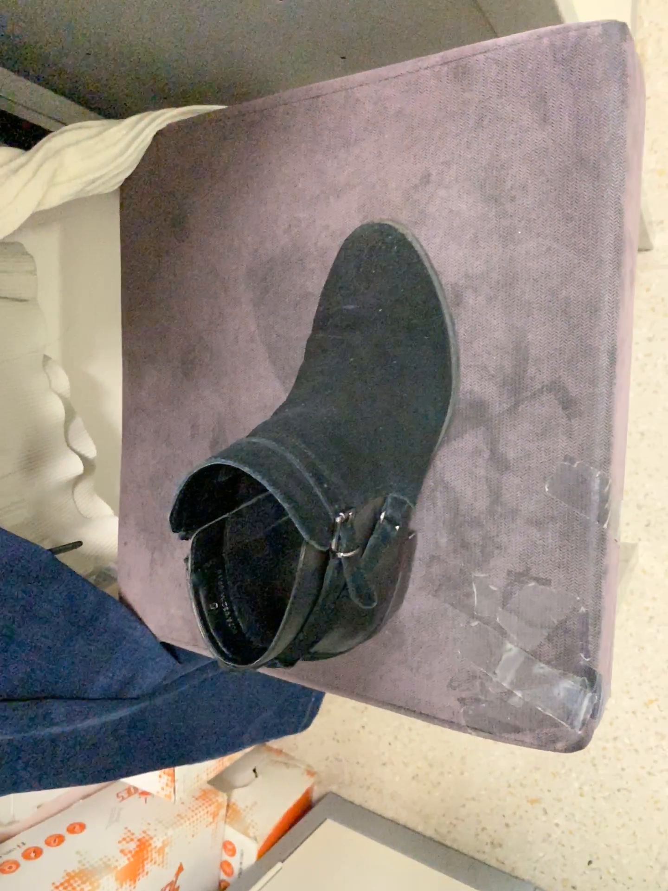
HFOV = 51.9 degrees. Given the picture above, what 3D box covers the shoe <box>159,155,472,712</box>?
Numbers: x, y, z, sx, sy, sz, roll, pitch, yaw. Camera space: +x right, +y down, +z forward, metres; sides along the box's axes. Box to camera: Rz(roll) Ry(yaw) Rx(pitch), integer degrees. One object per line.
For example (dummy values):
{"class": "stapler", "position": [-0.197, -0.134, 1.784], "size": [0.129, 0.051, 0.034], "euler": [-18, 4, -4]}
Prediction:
{"class": "shoe", "position": [-0.004, -0.008, 0.373], "size": [0.101, 0.137, 0.235], "euler": [6, 95, 30]}
